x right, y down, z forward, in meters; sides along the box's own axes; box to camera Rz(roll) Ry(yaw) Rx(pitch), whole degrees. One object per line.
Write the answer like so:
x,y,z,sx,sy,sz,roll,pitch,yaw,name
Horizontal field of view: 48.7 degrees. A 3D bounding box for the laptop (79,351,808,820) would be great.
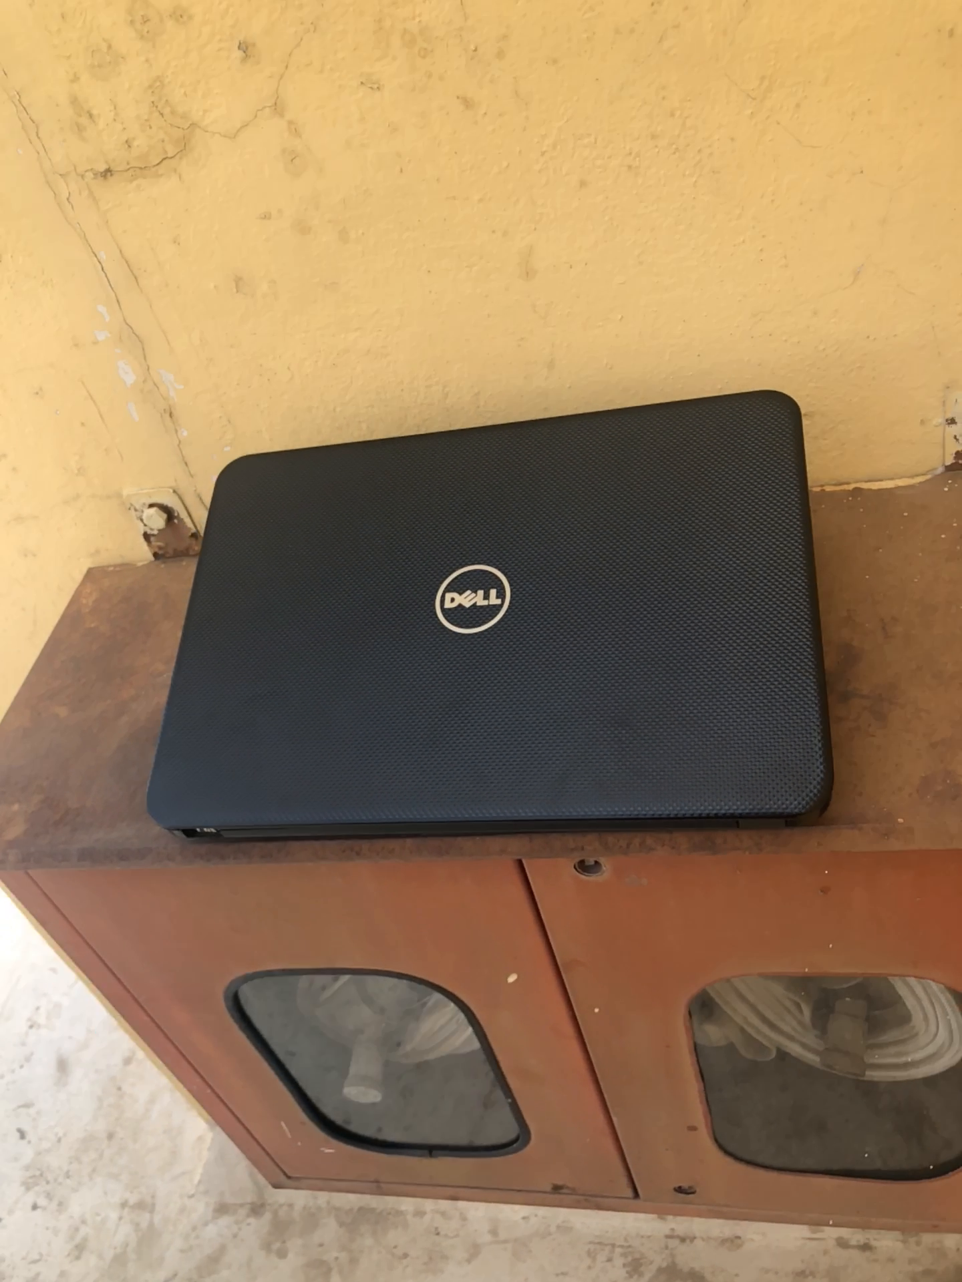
-0.012,-0.023,0.572,0.353,0.098,0.183,-4,51,17,laptop
